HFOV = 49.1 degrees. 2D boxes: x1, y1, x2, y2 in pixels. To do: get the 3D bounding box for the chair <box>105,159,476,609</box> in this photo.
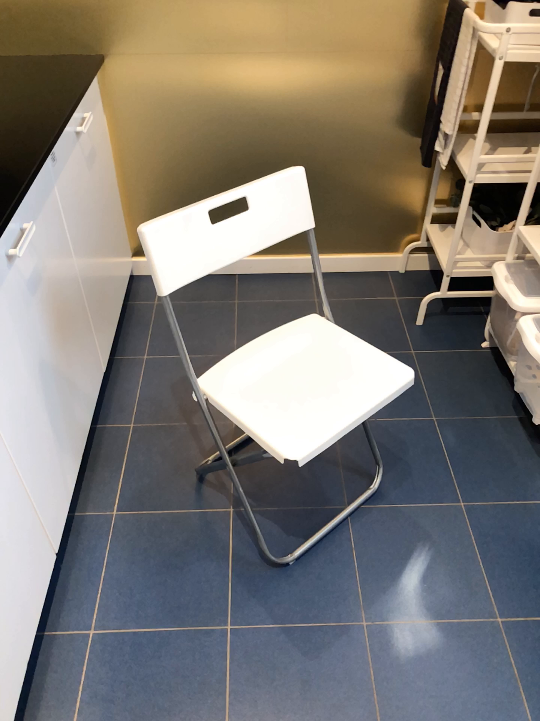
[{"bbox_3d":[0.034,0.053,1.395,0.491,0.775,0.522,-30,50,-28],"label":"chair"}]
